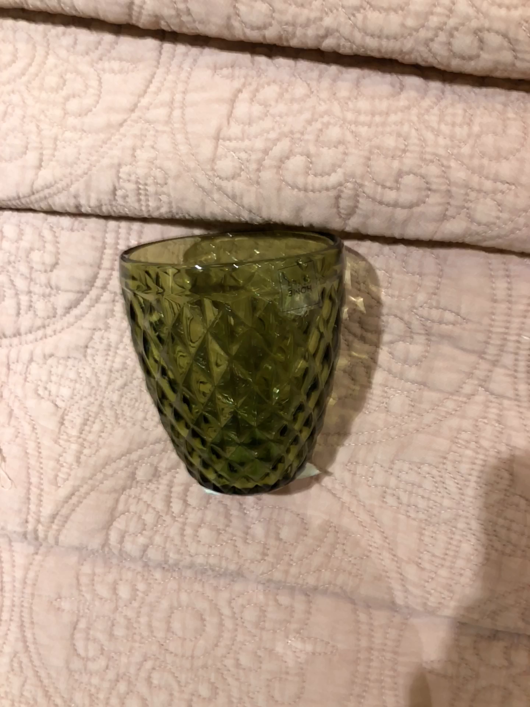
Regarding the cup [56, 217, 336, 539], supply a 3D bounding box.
[{"bbox_3d":[-0.017,0.005,0.229,0.080,0.070,0.100,1,112,12],"label":"cup"}]
